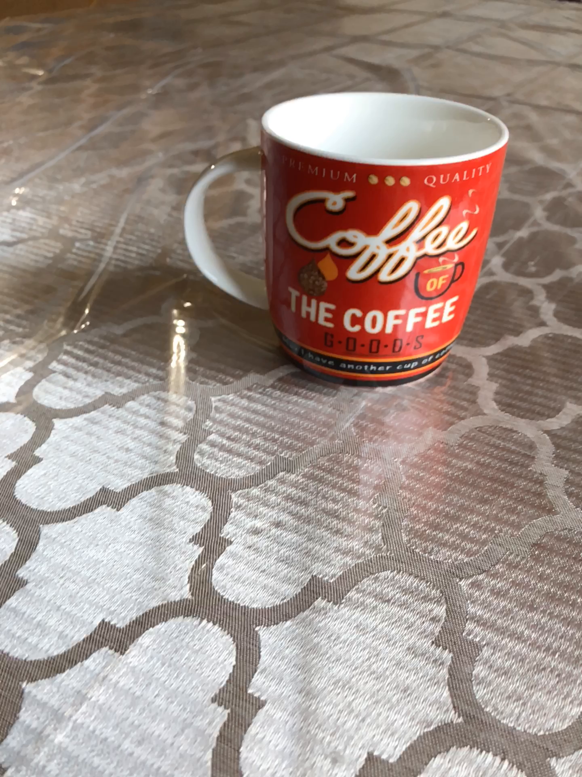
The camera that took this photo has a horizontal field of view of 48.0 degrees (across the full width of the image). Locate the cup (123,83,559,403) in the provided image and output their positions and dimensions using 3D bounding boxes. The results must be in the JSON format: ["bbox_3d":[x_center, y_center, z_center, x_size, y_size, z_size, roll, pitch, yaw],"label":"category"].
[{"bbox_3d":[0.018,-0.066,0.267,0.130,0.080,0.121,1,36,-1],"label":"cup"}]
